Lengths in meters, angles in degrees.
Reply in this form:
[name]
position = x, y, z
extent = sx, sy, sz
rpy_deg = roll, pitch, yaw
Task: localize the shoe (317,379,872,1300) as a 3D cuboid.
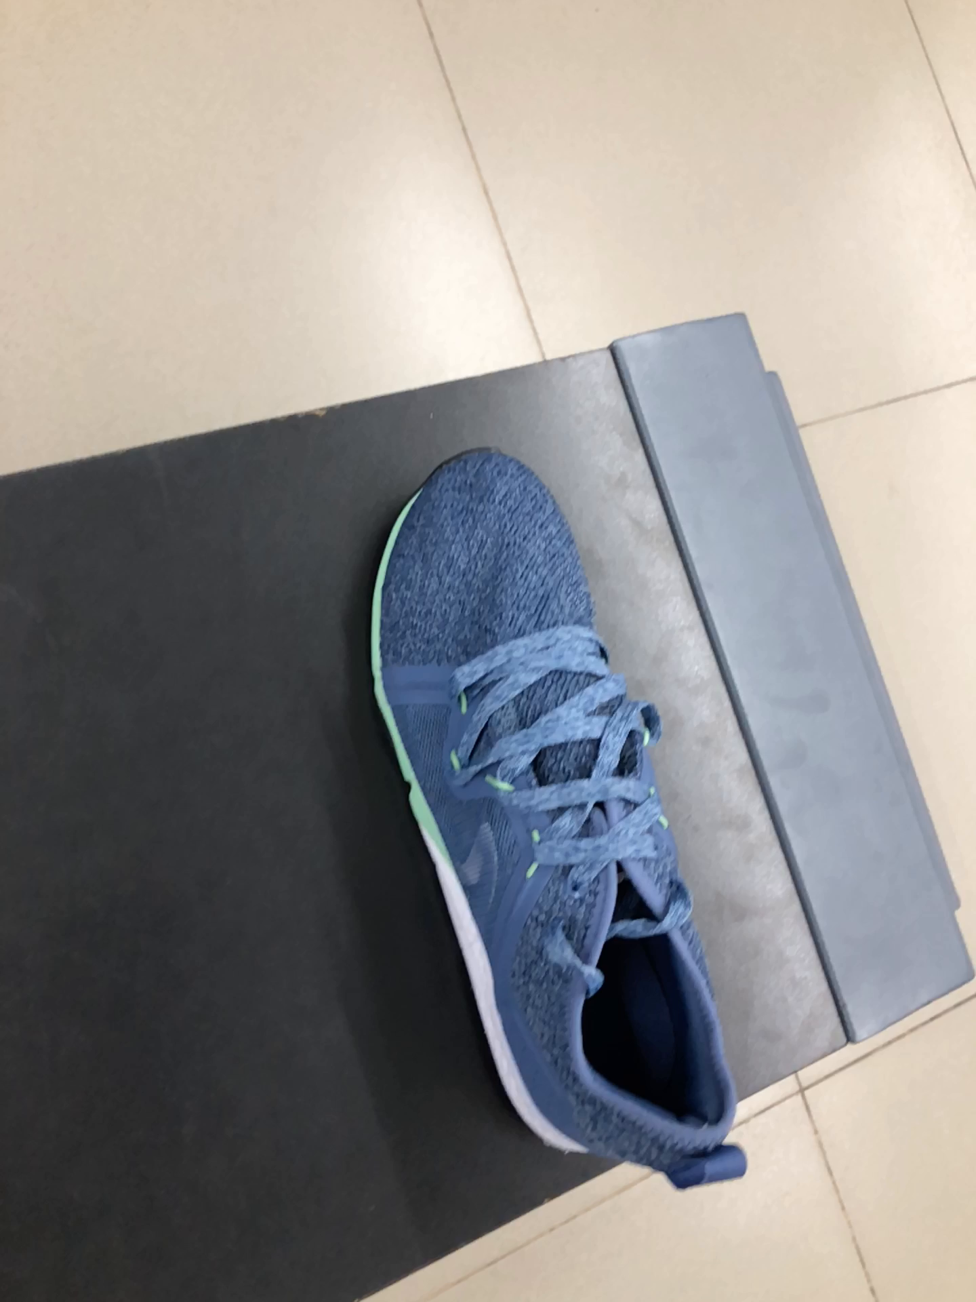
[shoe]
position = 0.032, 0.057, 0.391
extent = 0.100, 0.080, 0.280
rpy_deg = -15, 86, -21
